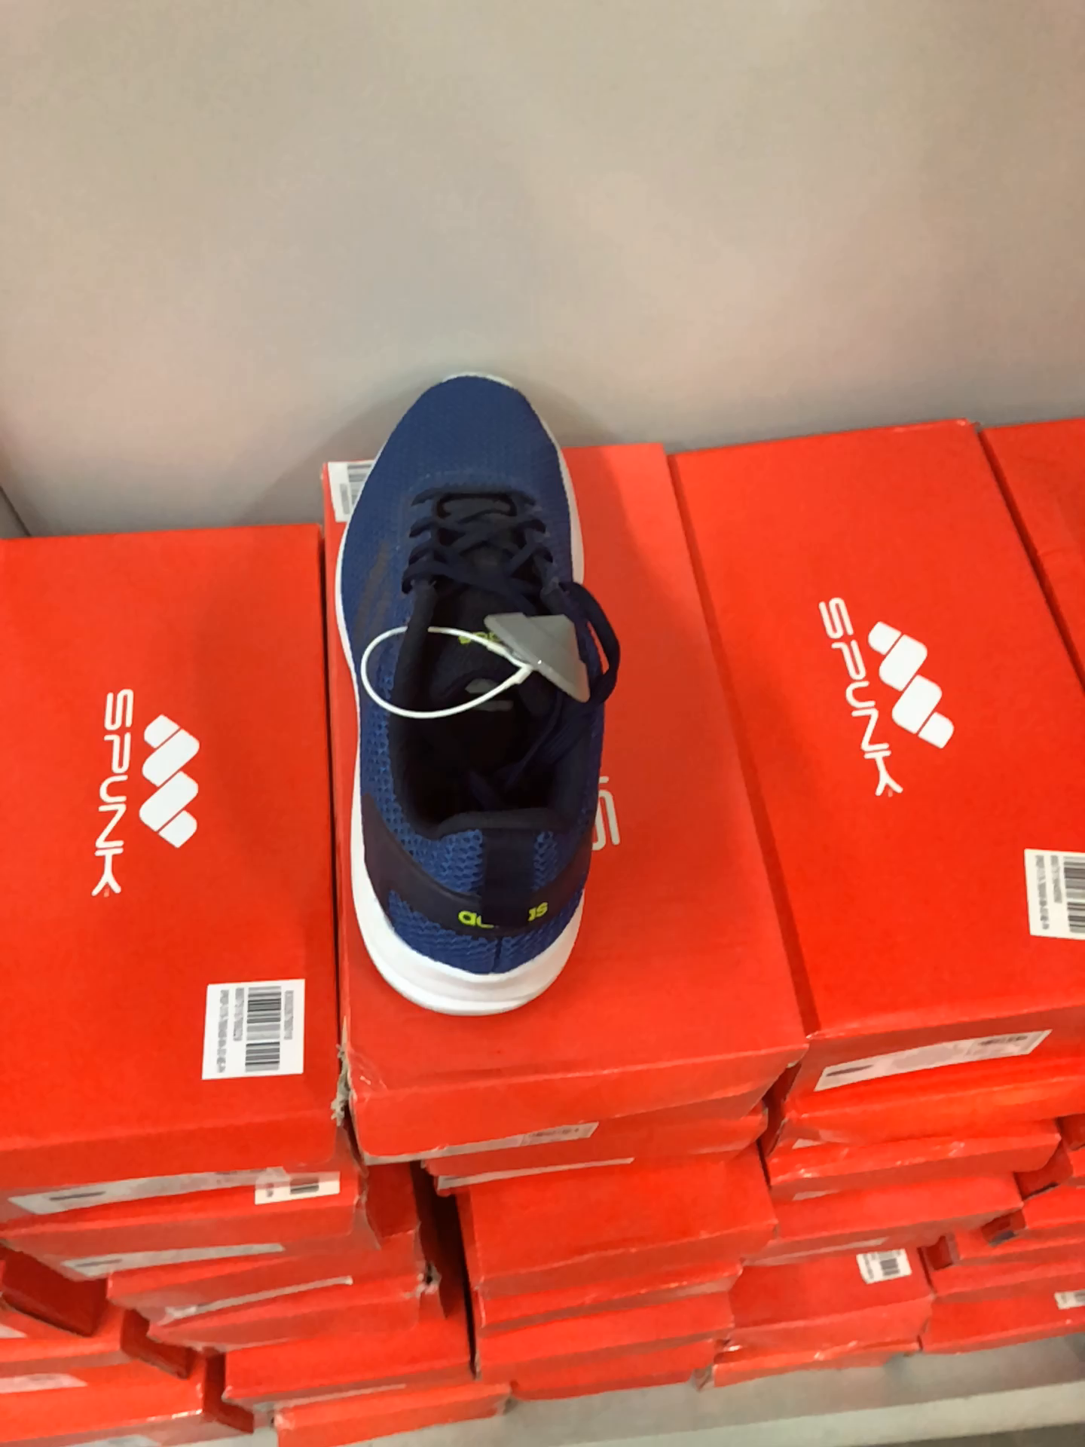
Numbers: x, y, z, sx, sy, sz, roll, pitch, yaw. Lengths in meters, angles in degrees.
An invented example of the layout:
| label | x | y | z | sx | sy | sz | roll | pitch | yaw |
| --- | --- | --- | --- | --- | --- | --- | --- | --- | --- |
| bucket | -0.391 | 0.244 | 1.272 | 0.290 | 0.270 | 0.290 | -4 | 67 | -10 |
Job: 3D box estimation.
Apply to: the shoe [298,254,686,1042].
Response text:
| label | x | y | z | sx | sy | sz | roll | pitch | yaw |
| --- | --- | --- | --- | --- | --- | --- | --- | --- | --- |
| shoe | -0.032 | -0.049 | 0.488 | 0.113 | 0.114 | 0.317 | -4 | 53 | -5 |
